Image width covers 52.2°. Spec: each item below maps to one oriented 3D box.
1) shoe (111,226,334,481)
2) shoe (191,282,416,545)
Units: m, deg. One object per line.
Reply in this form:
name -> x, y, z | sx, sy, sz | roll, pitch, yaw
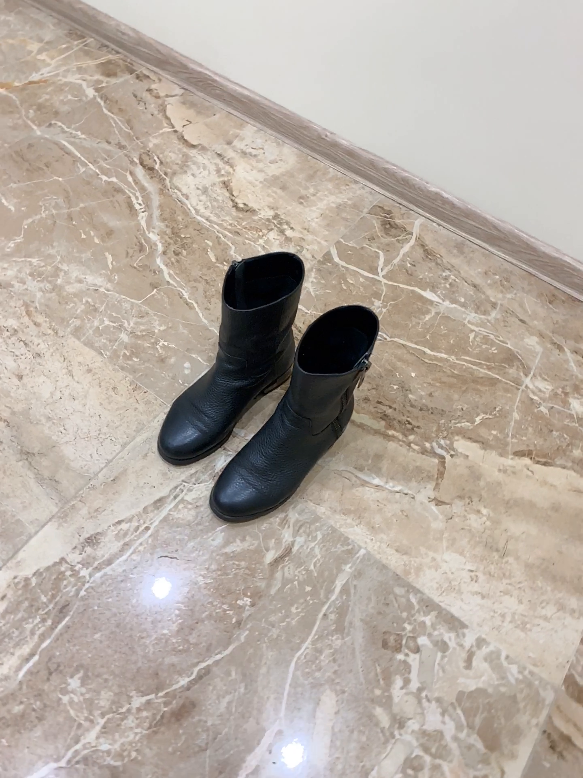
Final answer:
shoe -> -0.078, -0.041, 0.756 | 0.090, 0.209, 0.261 | 39, 62, 18
shoe -> 0.012, 0.033, 0.722 | 0.090, 0.209, 0.261 | 39, 63, 18
